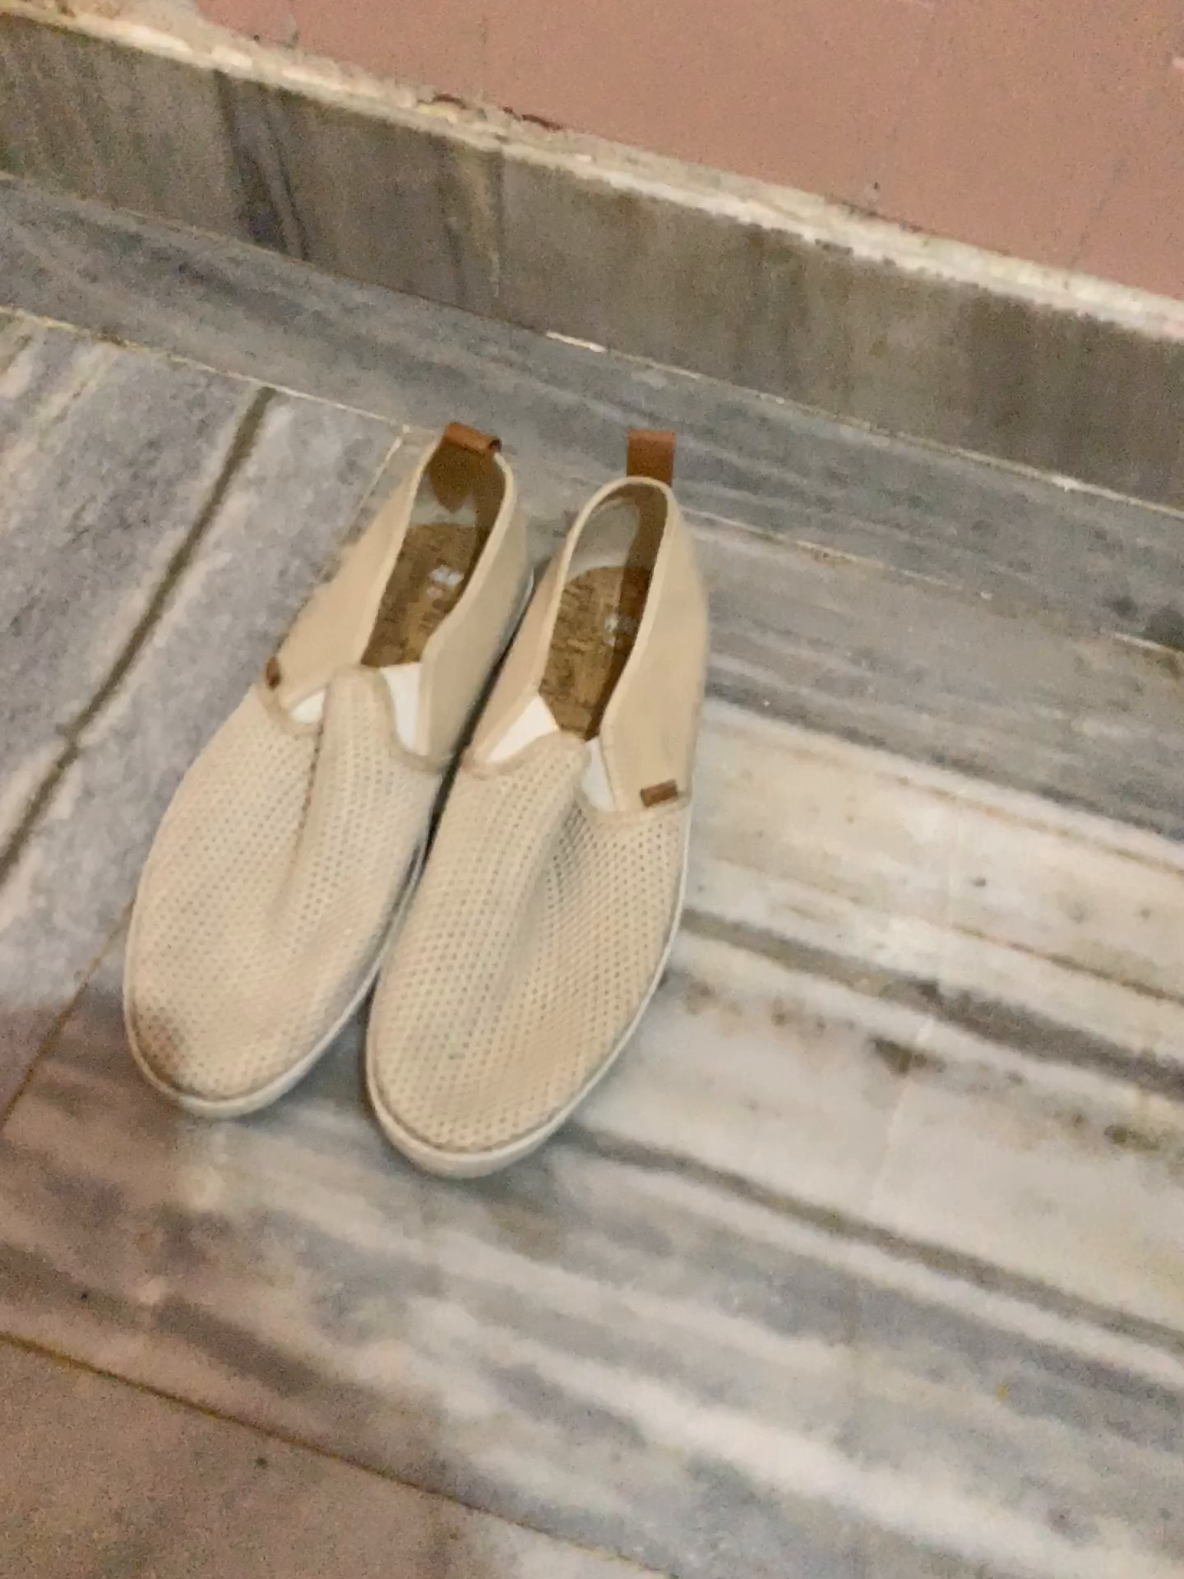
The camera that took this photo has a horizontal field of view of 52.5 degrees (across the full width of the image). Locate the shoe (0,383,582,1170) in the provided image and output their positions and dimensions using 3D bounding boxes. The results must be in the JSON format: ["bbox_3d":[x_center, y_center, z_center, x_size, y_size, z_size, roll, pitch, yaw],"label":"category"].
[{"bbox_3d":[-0.111,-0.022,0.495,0.116,0.080,0.310,18,59,4],"label":"shoe"}]

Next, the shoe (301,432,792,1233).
[{"bbox_3d":[-0.005,0.002,0.491,0.116,0.080,0.310,14,59,2],"label":"shoe"}]
